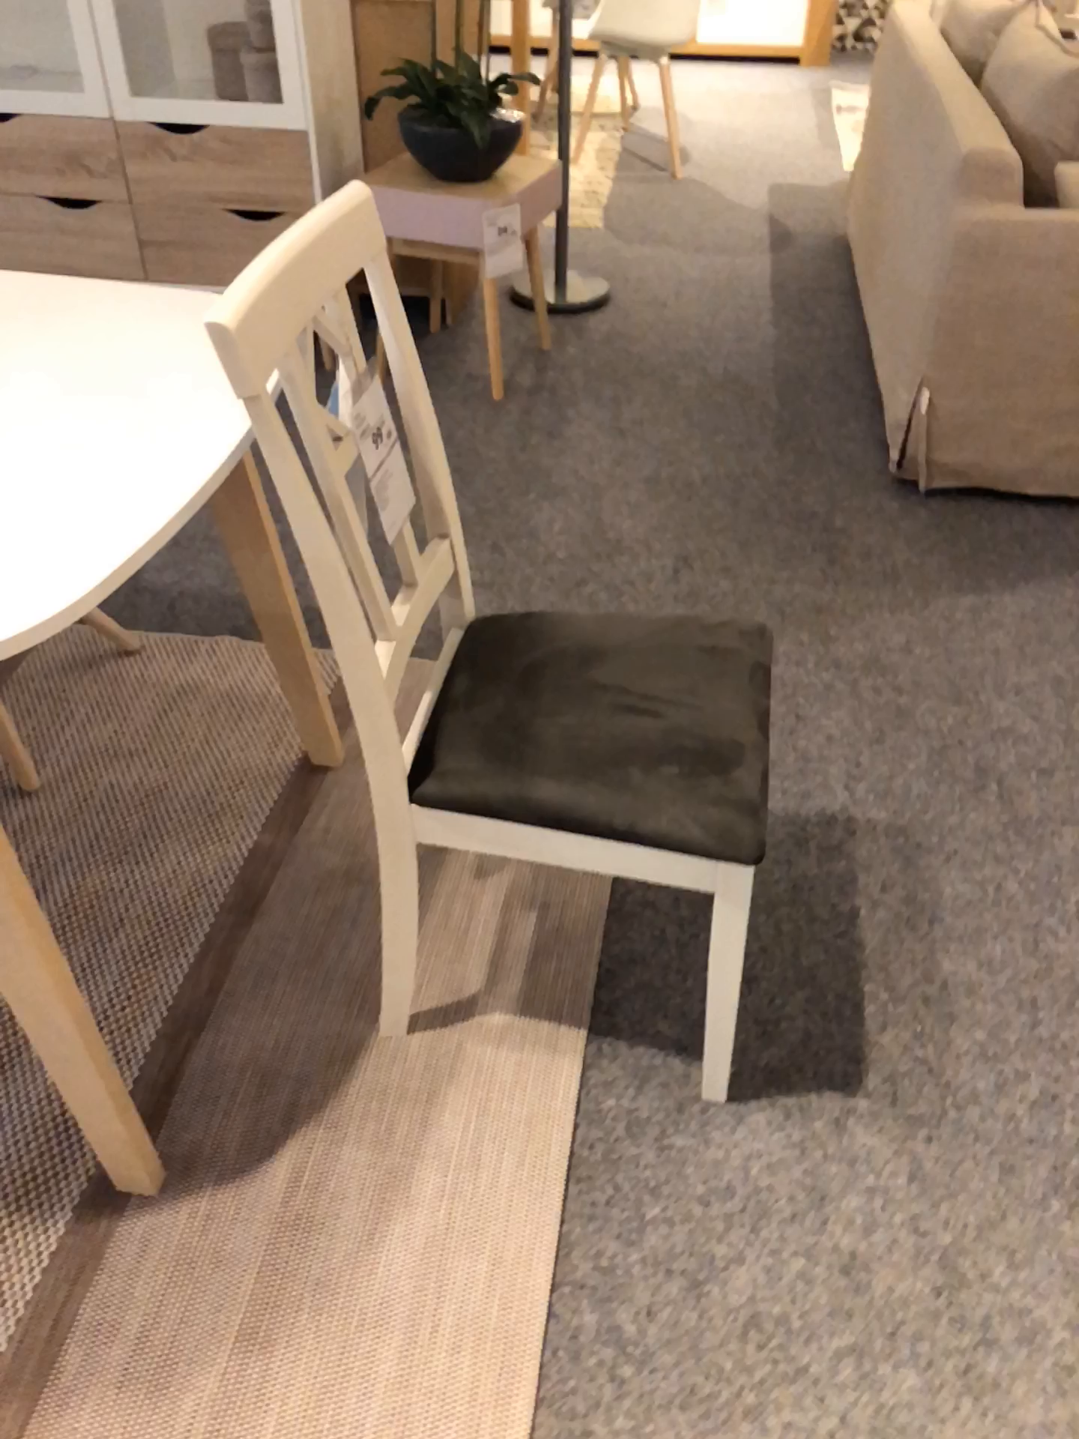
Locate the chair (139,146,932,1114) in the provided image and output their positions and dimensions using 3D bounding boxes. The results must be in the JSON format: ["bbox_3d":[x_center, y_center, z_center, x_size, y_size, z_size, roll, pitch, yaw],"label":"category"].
[{"bbox_3d":[0.023,-0.084,1.286,0.560,0.855,0.513,6,39,7],"label":"chair"}]
